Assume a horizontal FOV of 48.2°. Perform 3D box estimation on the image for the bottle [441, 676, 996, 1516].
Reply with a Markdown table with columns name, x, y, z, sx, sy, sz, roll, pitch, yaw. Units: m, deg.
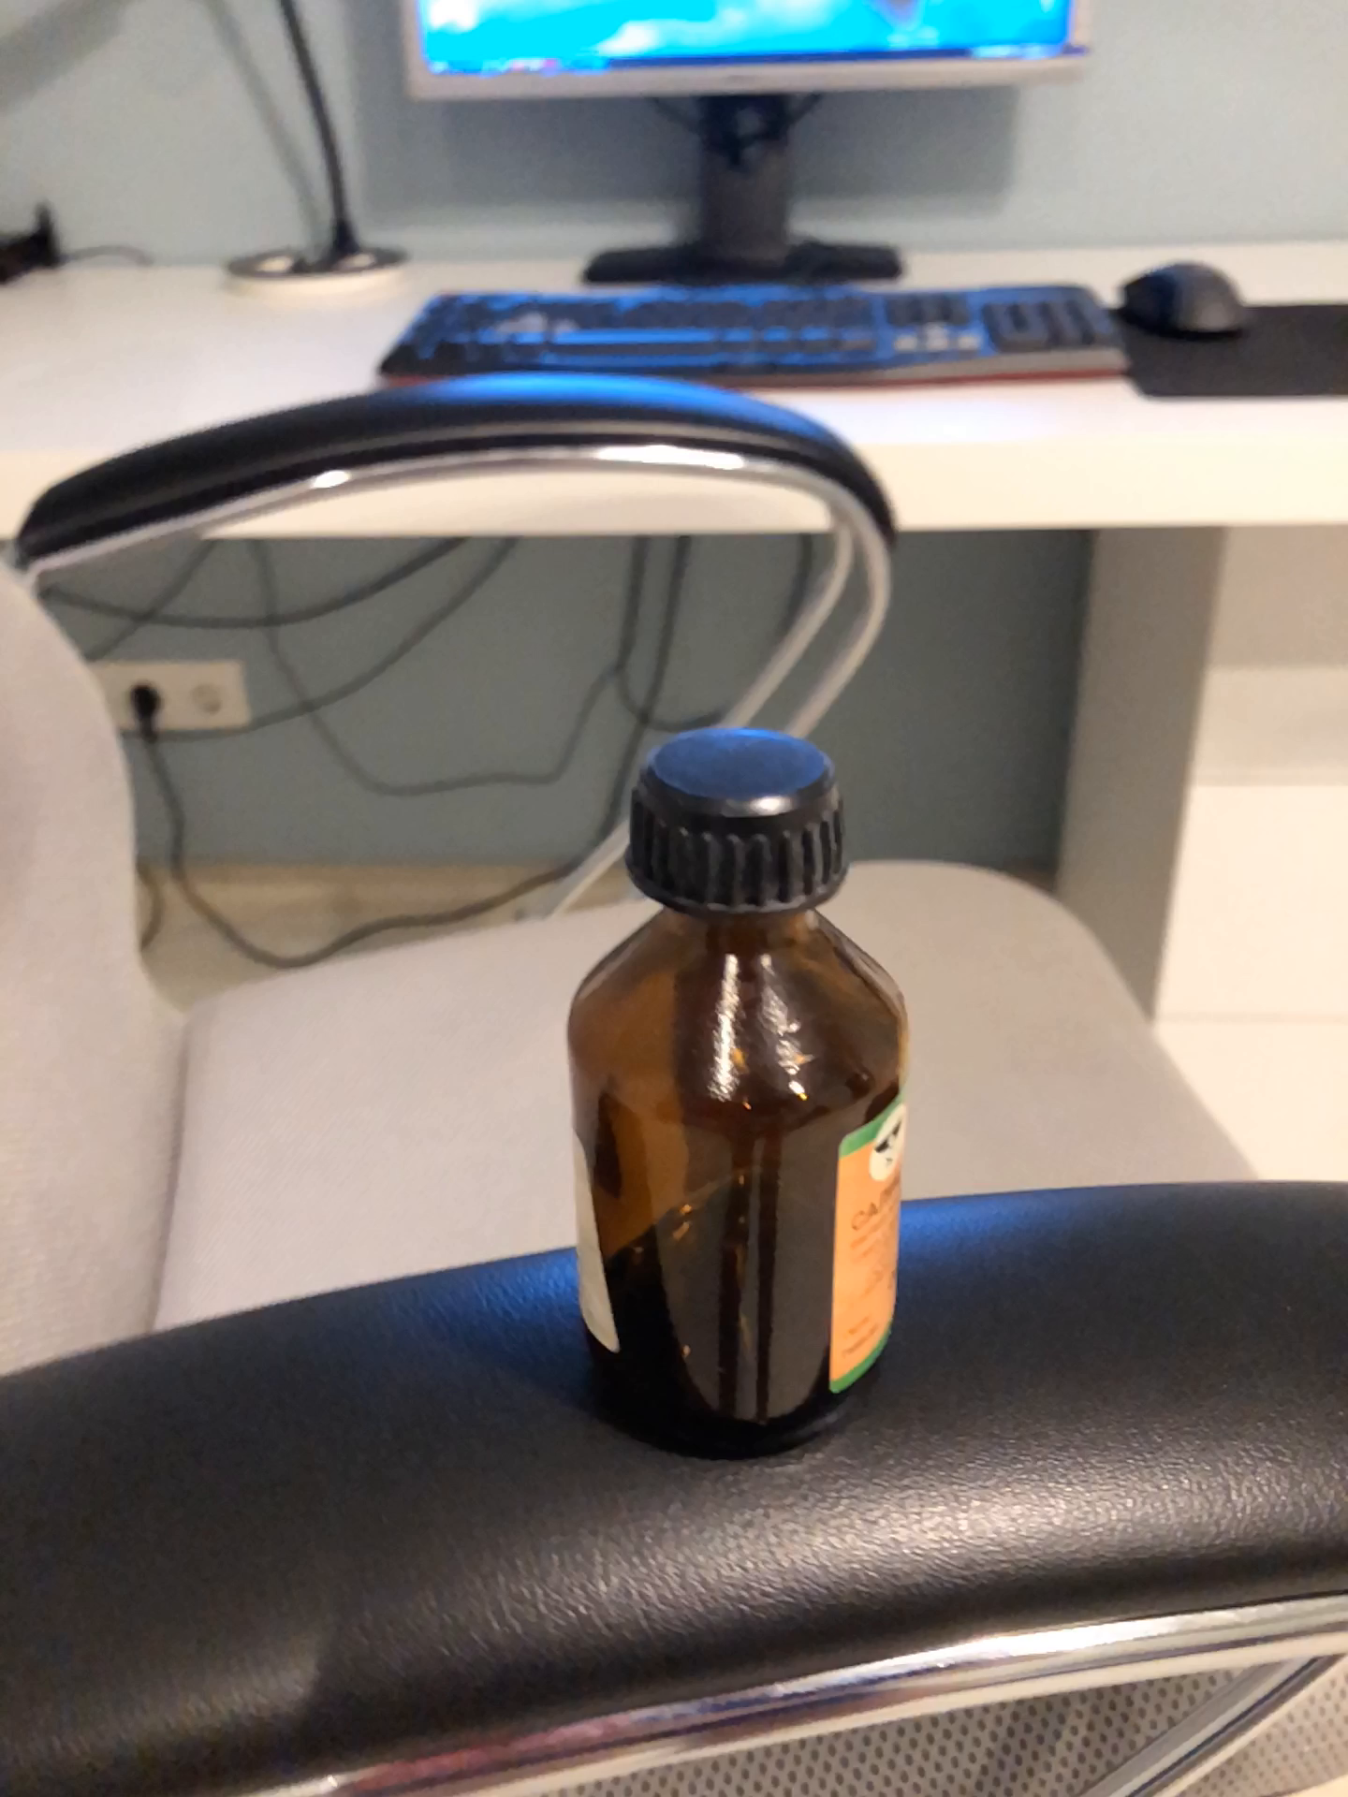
| name | x | y | z | sx | sy | sz | roll | pitch | yaw |
| --- | --- | --- | --- | --- | --- | --- | --- | --- | --- |
| bottle | 0.003 | 0.023 | 0.188 | 0.050 | 0.083 | 0.050 | -2 | 31 | 1 |
